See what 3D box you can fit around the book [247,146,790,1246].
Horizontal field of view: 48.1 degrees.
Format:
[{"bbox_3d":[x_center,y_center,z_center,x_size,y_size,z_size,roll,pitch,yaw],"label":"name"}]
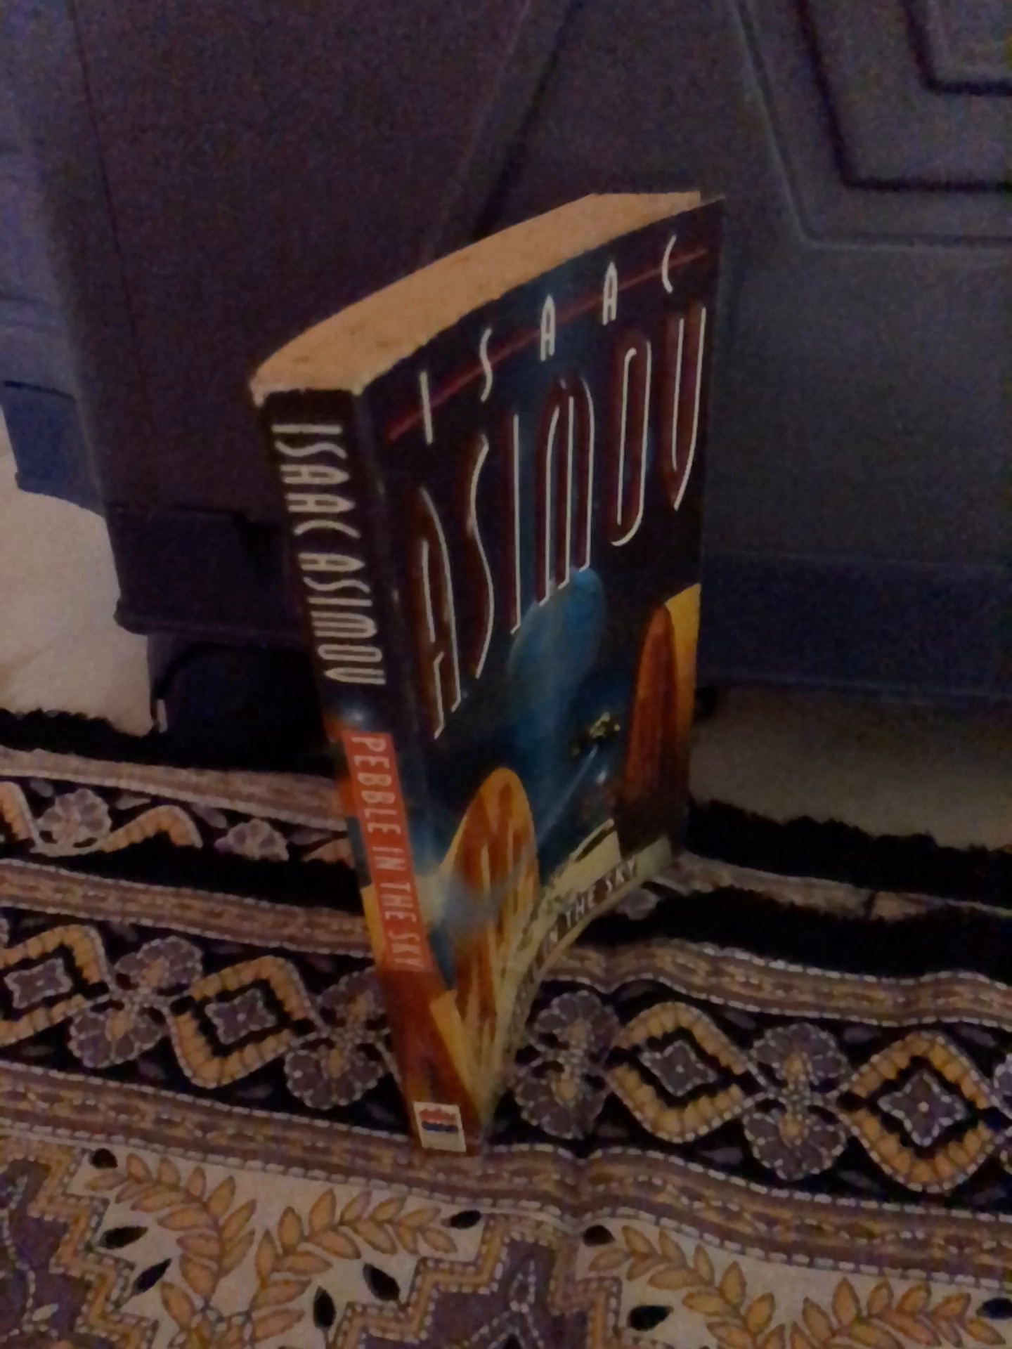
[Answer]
[{"bbox_3d":[0.018,0.000,0.249,0.030,0.189,0.151,14,36,24],"label":"book"}]
